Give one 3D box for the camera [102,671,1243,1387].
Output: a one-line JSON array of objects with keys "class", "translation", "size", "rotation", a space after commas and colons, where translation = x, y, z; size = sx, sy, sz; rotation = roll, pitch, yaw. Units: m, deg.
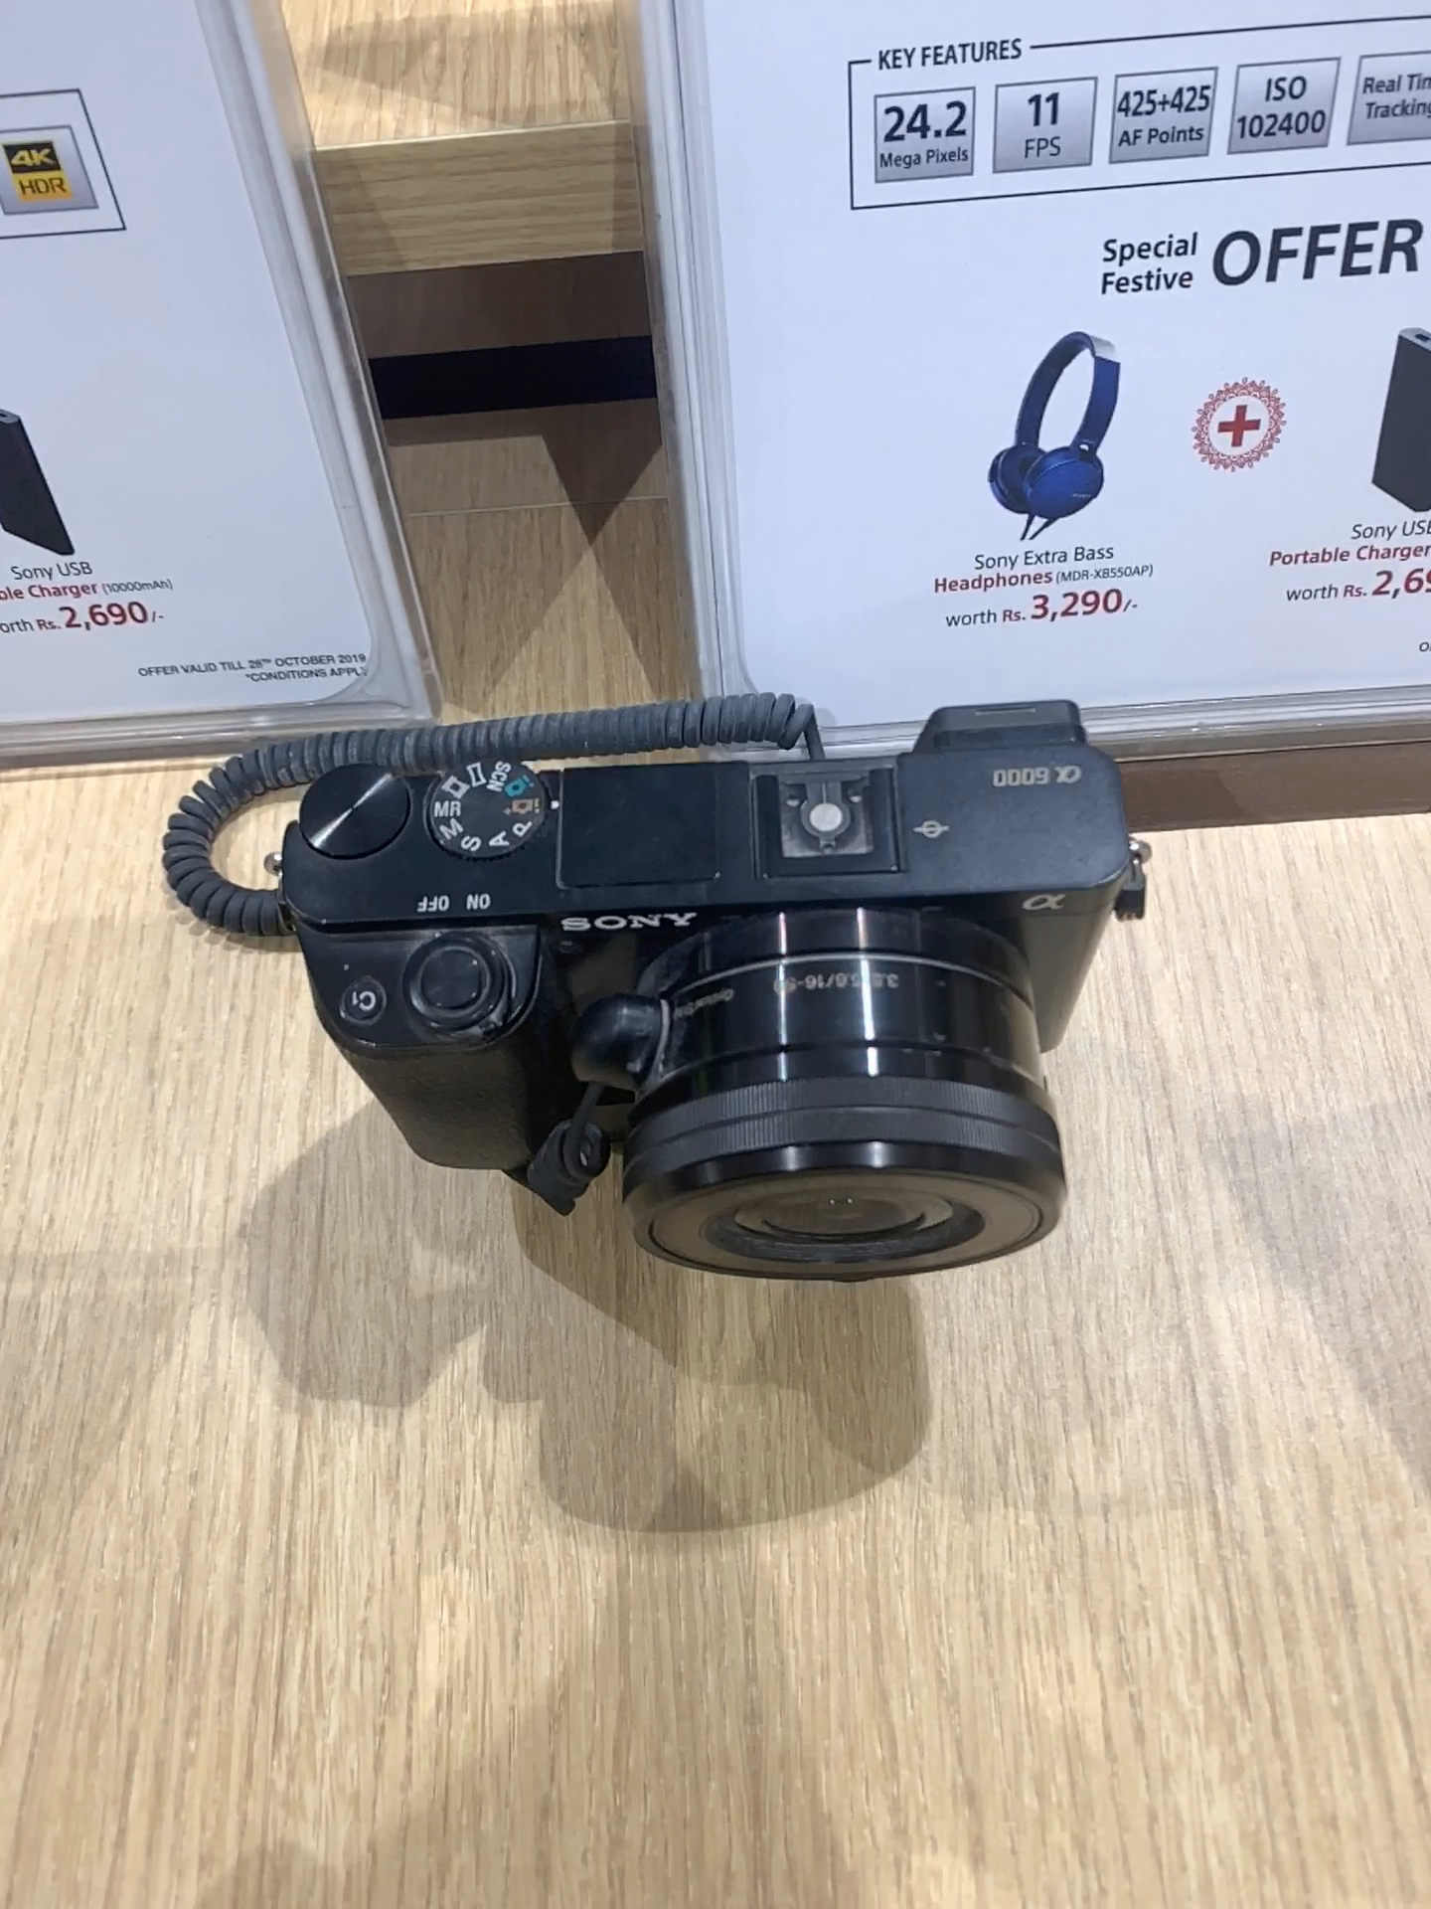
[{"class": "camera", "translation": [-0.004, 0.014, 0.202], "size": [0.120, 0.070, 0.070], "rotation": [-3, 62, 2]}]
